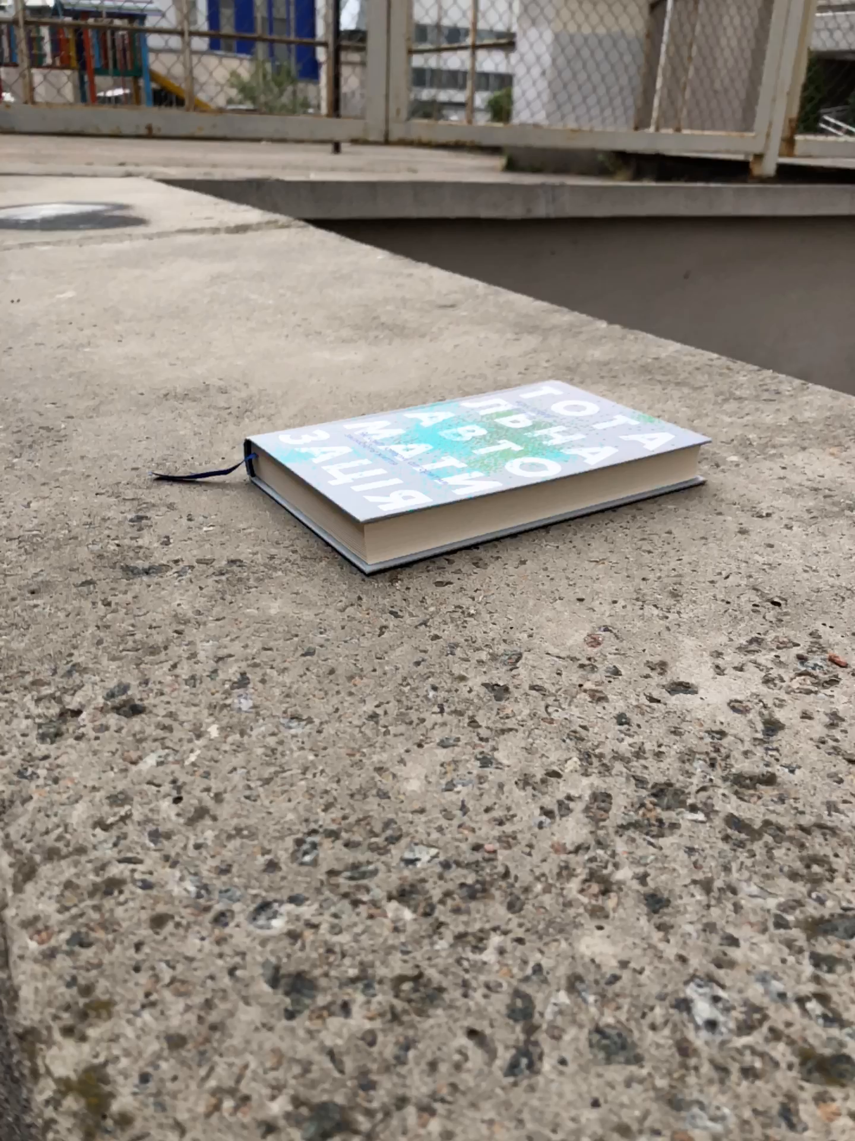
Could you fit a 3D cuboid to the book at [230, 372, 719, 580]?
[{"bbox_3d":[0.024,-0.064,0.527,0.221,0.030,0.157,-15,30,-28],"label":"book"}]
